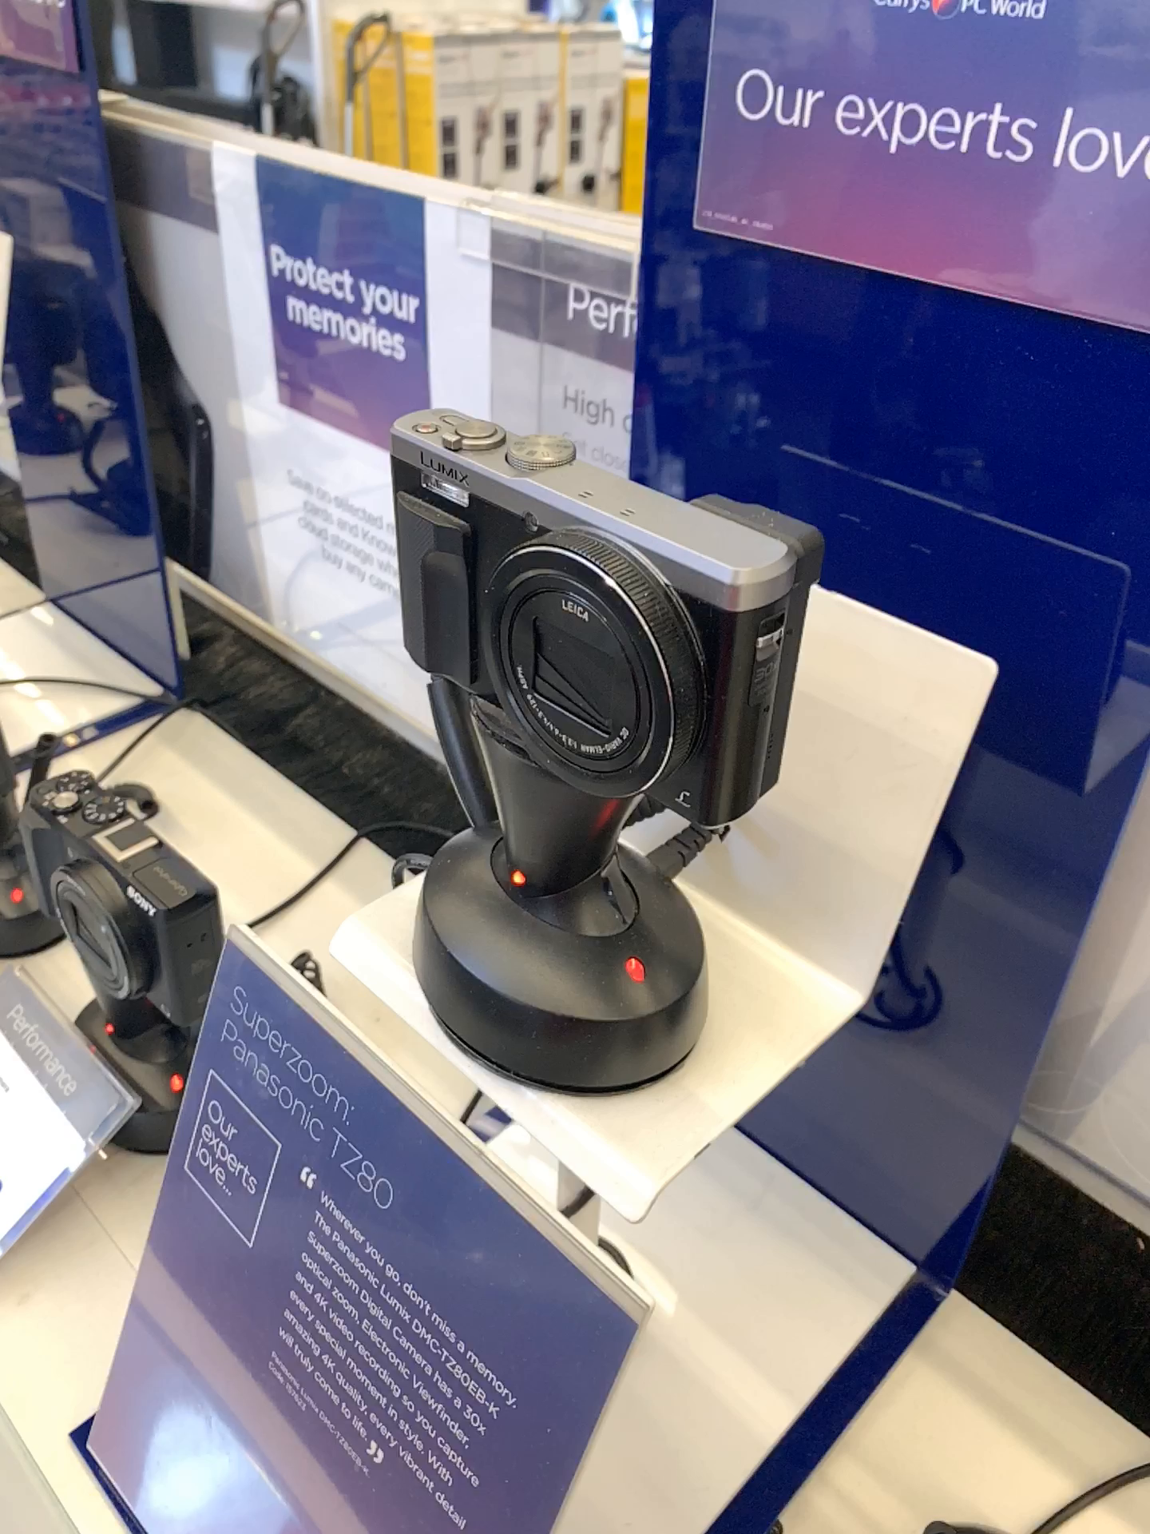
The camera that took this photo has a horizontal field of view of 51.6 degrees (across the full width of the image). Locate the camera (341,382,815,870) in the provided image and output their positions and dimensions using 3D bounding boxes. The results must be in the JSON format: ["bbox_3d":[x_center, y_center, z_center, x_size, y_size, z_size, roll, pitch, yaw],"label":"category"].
[{"bbox_3d":[-0.005,-0.036,0.273,0.111,0.069,0.030,31,44,32],"label":"camera"}]
